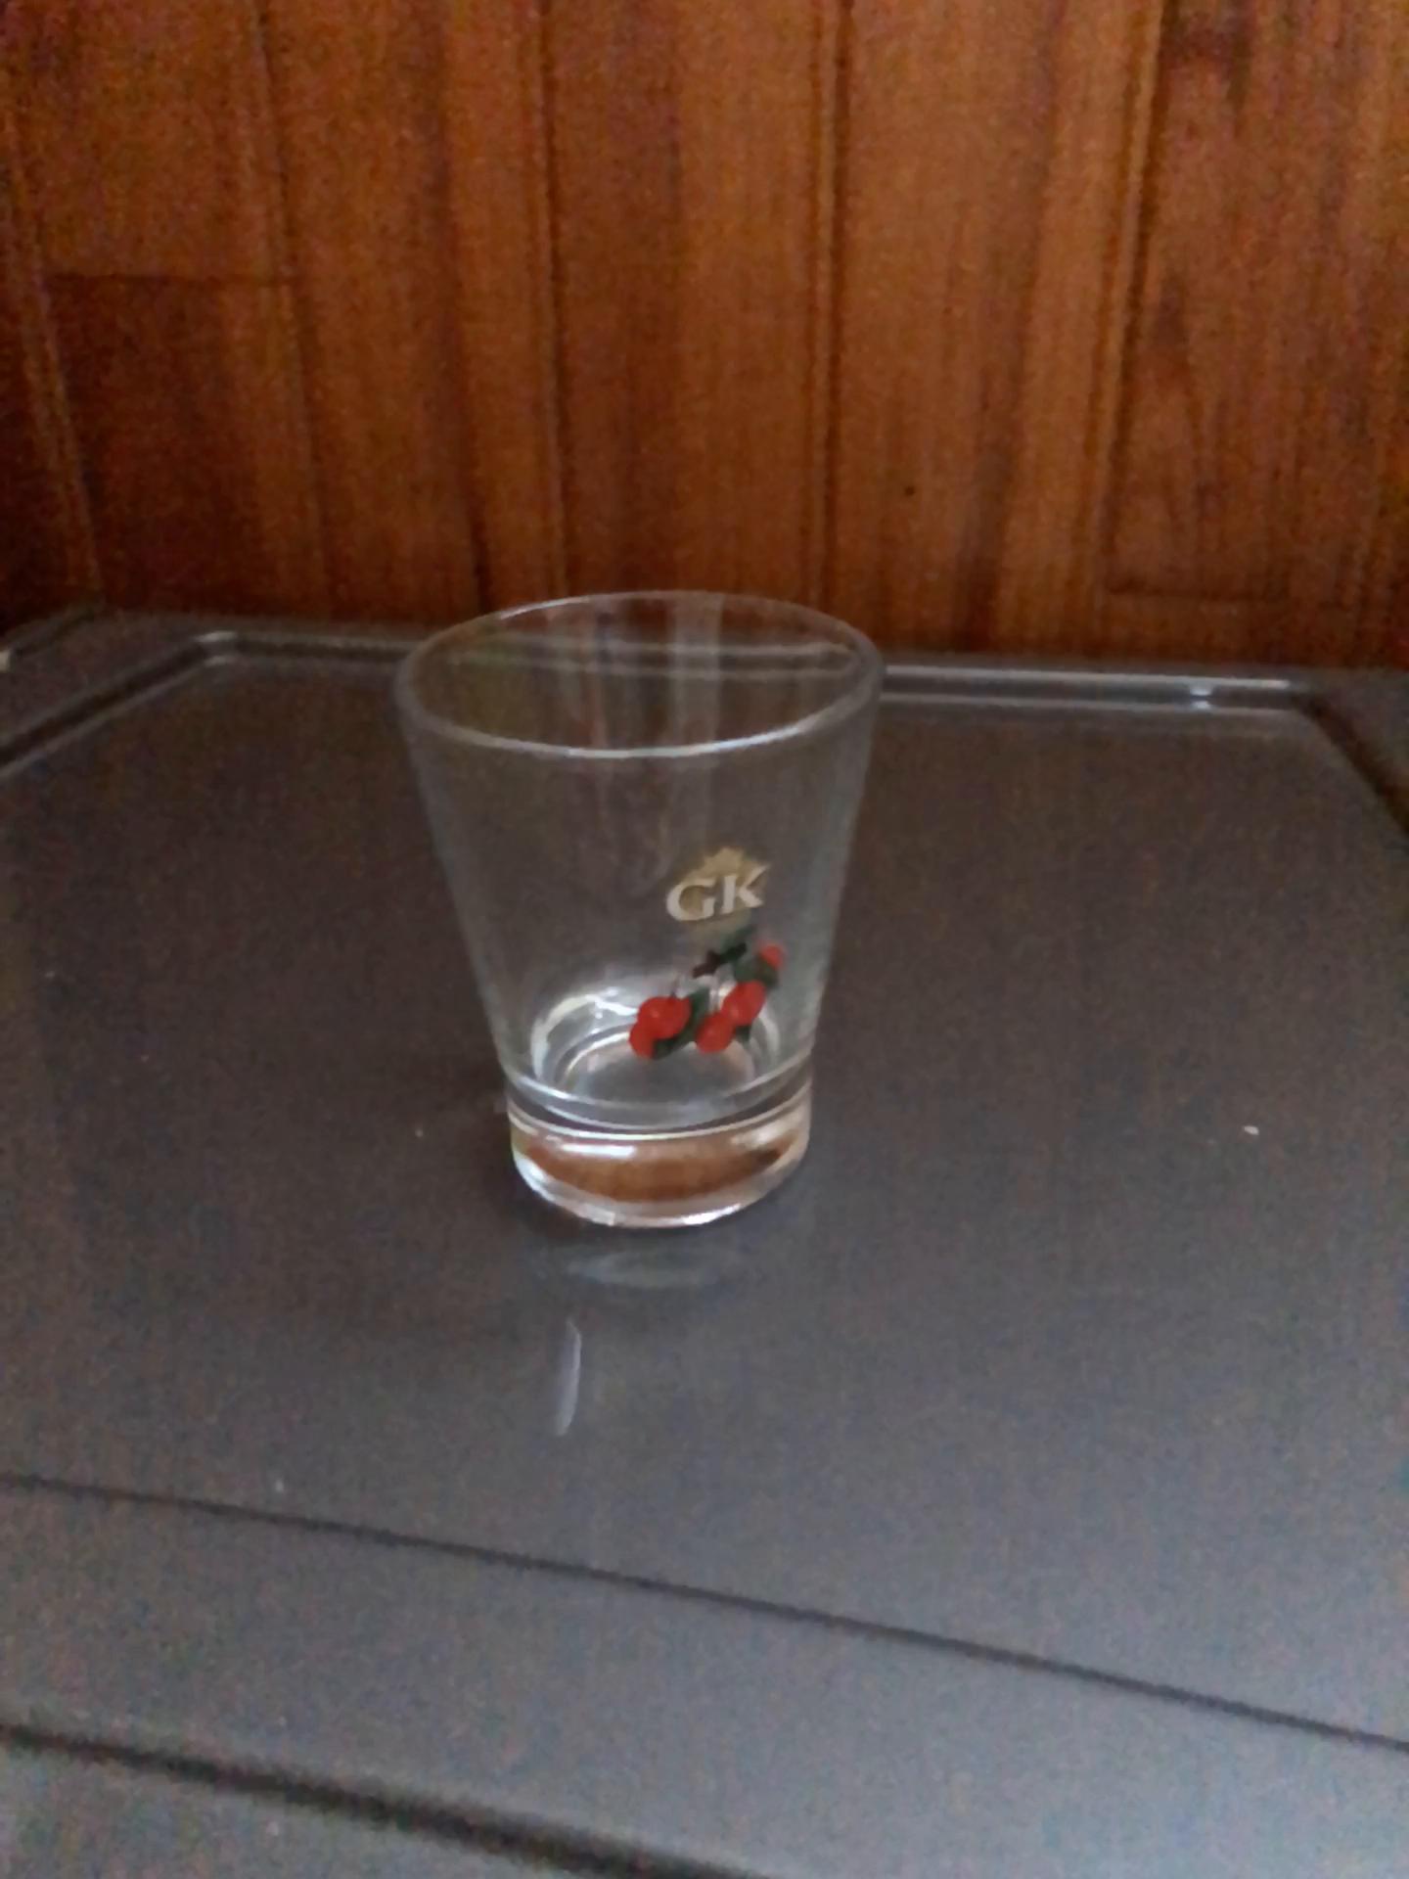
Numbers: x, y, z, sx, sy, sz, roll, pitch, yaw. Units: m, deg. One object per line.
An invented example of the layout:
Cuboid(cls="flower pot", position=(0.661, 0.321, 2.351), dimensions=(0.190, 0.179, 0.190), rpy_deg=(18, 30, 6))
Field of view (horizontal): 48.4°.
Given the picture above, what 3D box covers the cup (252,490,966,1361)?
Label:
Cuboid(cls="cup", position=(-0.012, -0.007, 0.198), dimensions=(0.060, 0.080, 0.060), rpy_deg=(-1, 28, 0))
